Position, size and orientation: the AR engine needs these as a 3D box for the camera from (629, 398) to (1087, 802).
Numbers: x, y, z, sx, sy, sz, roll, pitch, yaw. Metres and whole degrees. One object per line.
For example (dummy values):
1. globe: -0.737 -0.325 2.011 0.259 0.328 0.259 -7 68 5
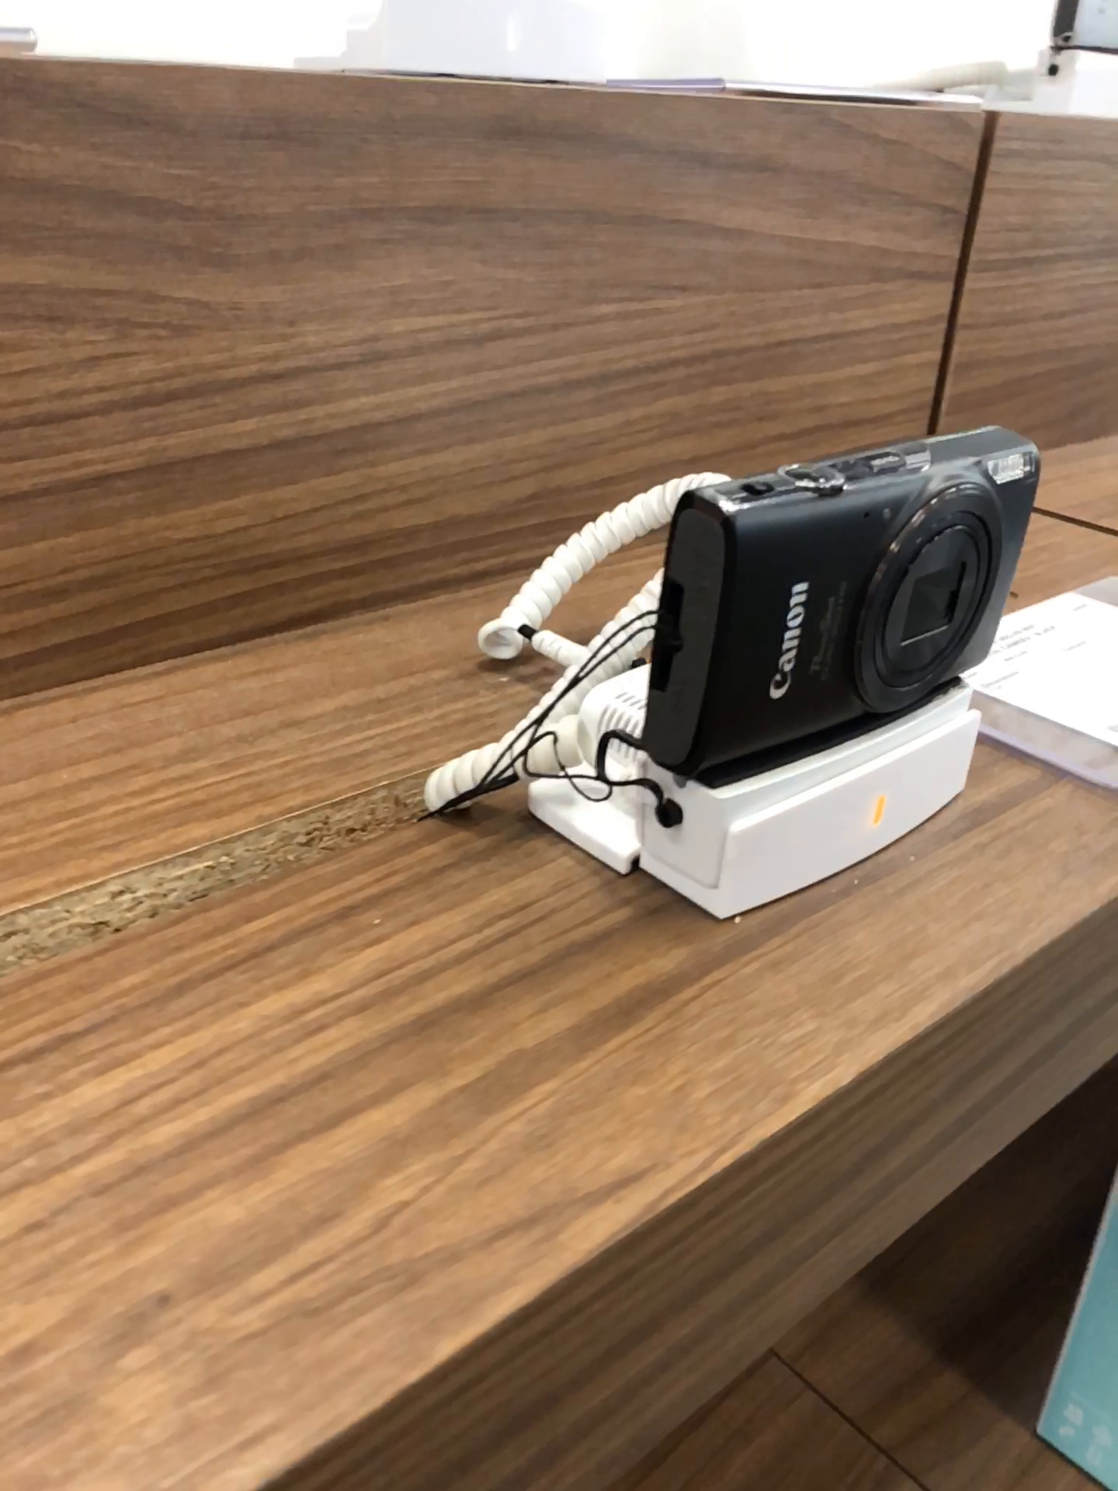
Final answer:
1. camera: 0.064 -0.034 0.257 0.110 0.060 0.020 -19 38 -38
